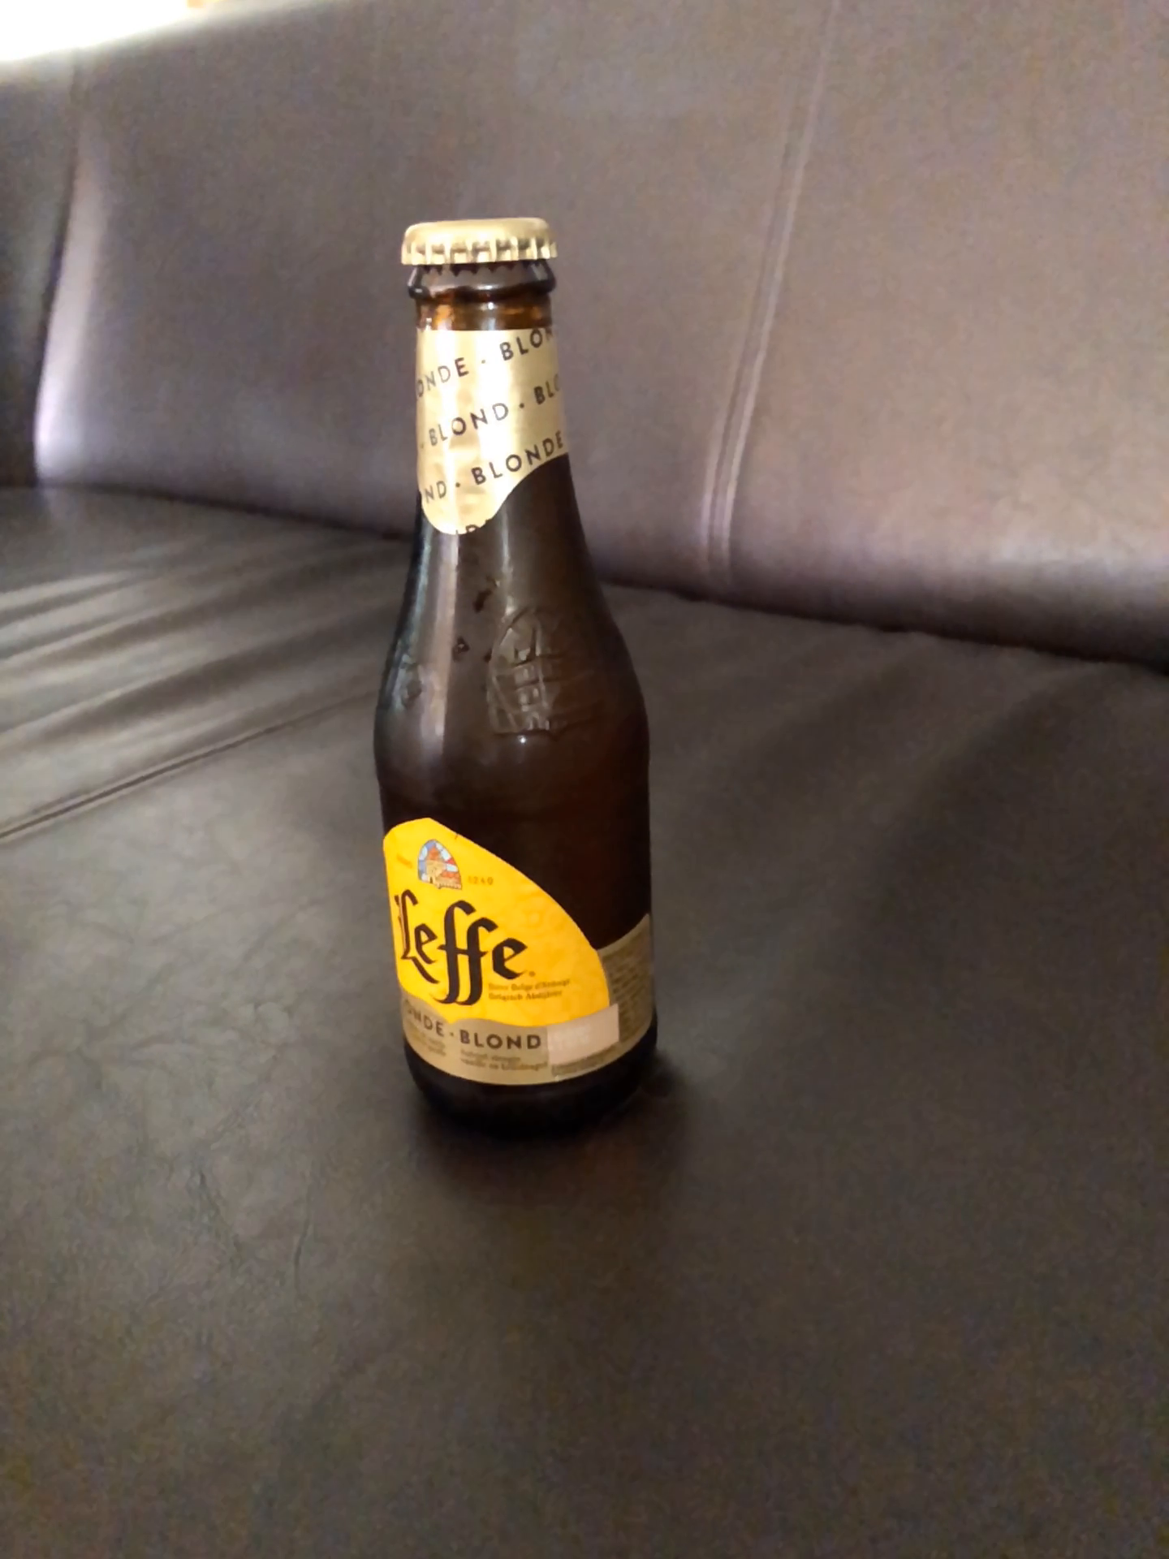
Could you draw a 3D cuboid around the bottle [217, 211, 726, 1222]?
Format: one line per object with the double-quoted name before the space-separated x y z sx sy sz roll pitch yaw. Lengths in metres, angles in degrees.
"bottle" -0.014 -0.011 0.267 0.060 0.189 0.060 -4 23 2
